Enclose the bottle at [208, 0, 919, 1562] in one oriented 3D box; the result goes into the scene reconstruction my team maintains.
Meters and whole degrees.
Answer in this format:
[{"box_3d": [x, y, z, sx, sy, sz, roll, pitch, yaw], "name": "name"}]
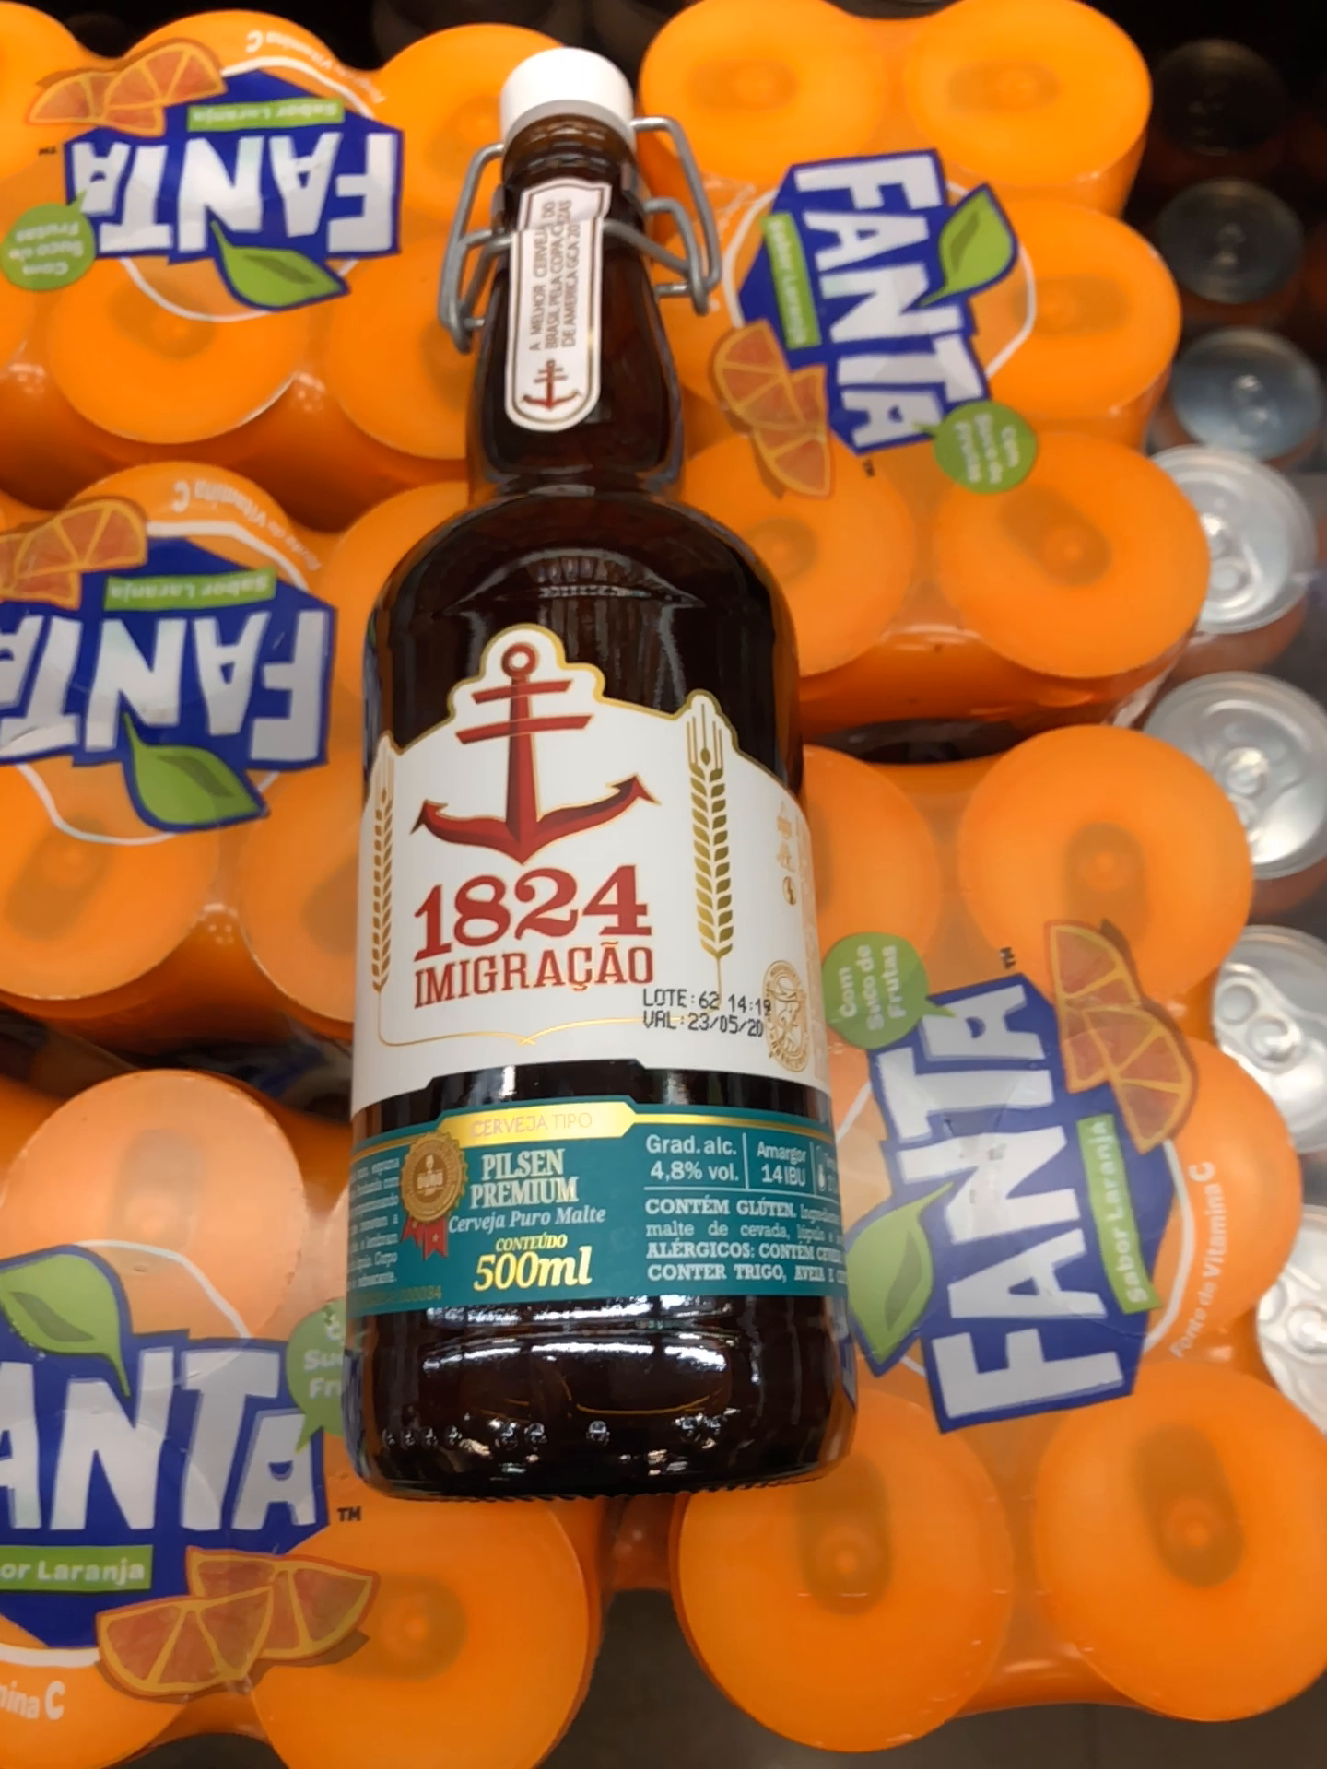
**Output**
[{"box_3d": [-0.017, -0.039, 0.226, 0.080, 0.050, 0.250, -2, 74, -1], "name": "bottle"}]
